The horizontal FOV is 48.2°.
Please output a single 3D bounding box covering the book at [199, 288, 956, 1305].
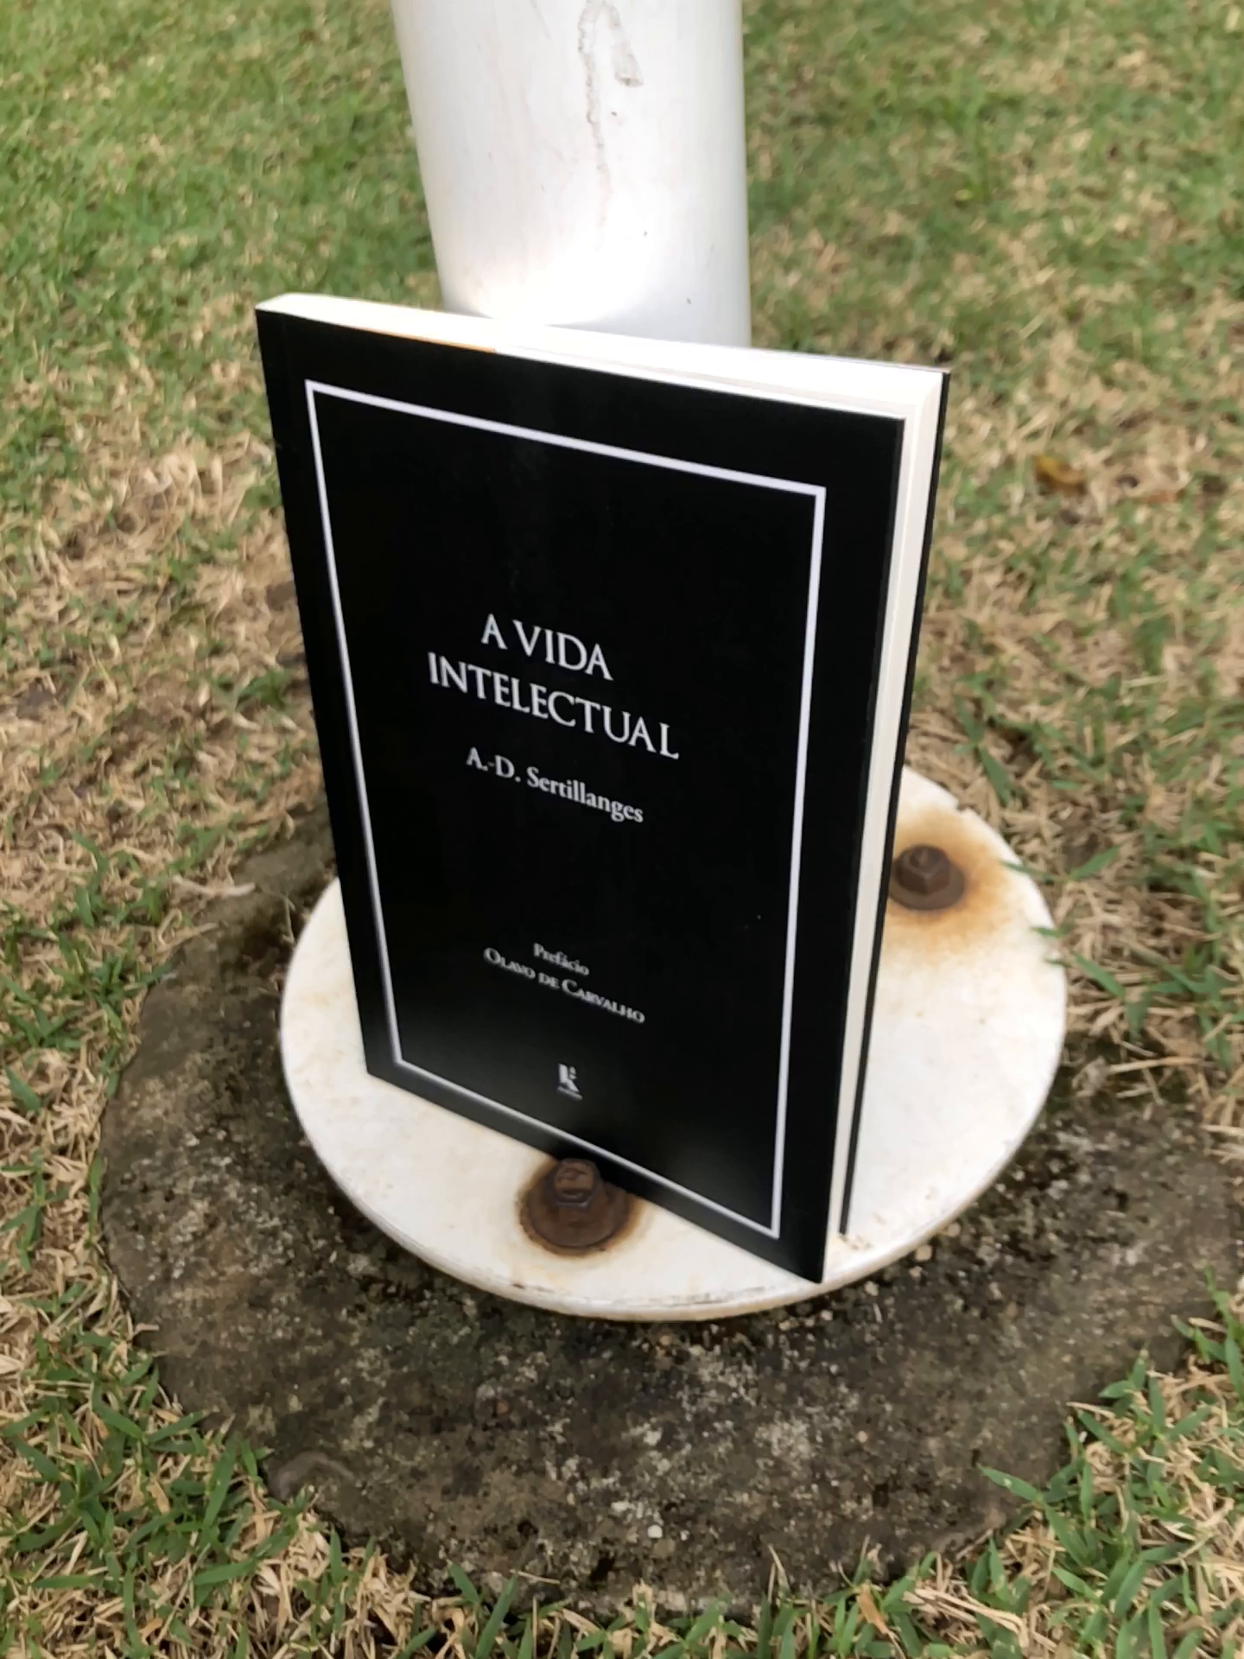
[{"bbox_3d":[-0.012,-0.003,0.292,0.141,0.193,0.025,18,38,27],"label":"book"}]
